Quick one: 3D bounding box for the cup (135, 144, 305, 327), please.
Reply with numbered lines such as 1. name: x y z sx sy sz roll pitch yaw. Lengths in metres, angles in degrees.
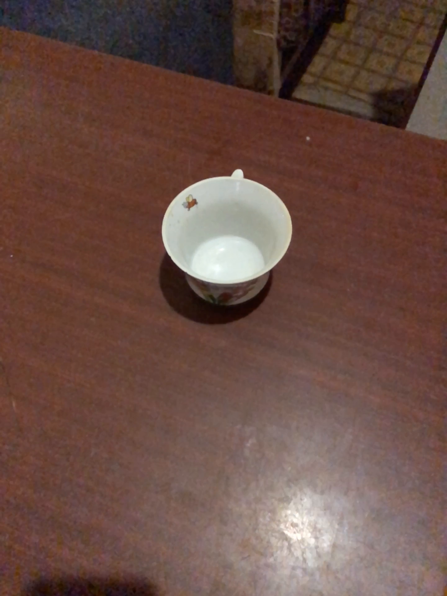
1. cup: 0.001 -0.048 0.375 0.100 0.059 0.110 10 63 6
